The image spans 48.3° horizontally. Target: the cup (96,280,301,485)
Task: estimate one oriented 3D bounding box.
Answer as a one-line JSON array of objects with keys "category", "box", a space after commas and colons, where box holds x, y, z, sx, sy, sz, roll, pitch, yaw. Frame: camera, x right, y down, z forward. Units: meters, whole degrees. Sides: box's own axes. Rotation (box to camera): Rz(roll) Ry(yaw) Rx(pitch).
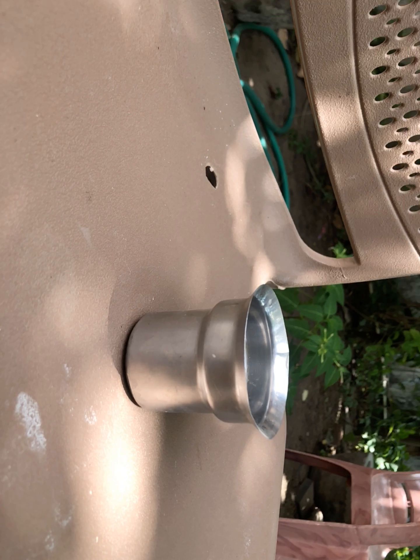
[{"category": "cup", "box": [-0.001, 0.040, 0.218, 0.060, 0.069, 0.070, -24, 111, -63]}]
